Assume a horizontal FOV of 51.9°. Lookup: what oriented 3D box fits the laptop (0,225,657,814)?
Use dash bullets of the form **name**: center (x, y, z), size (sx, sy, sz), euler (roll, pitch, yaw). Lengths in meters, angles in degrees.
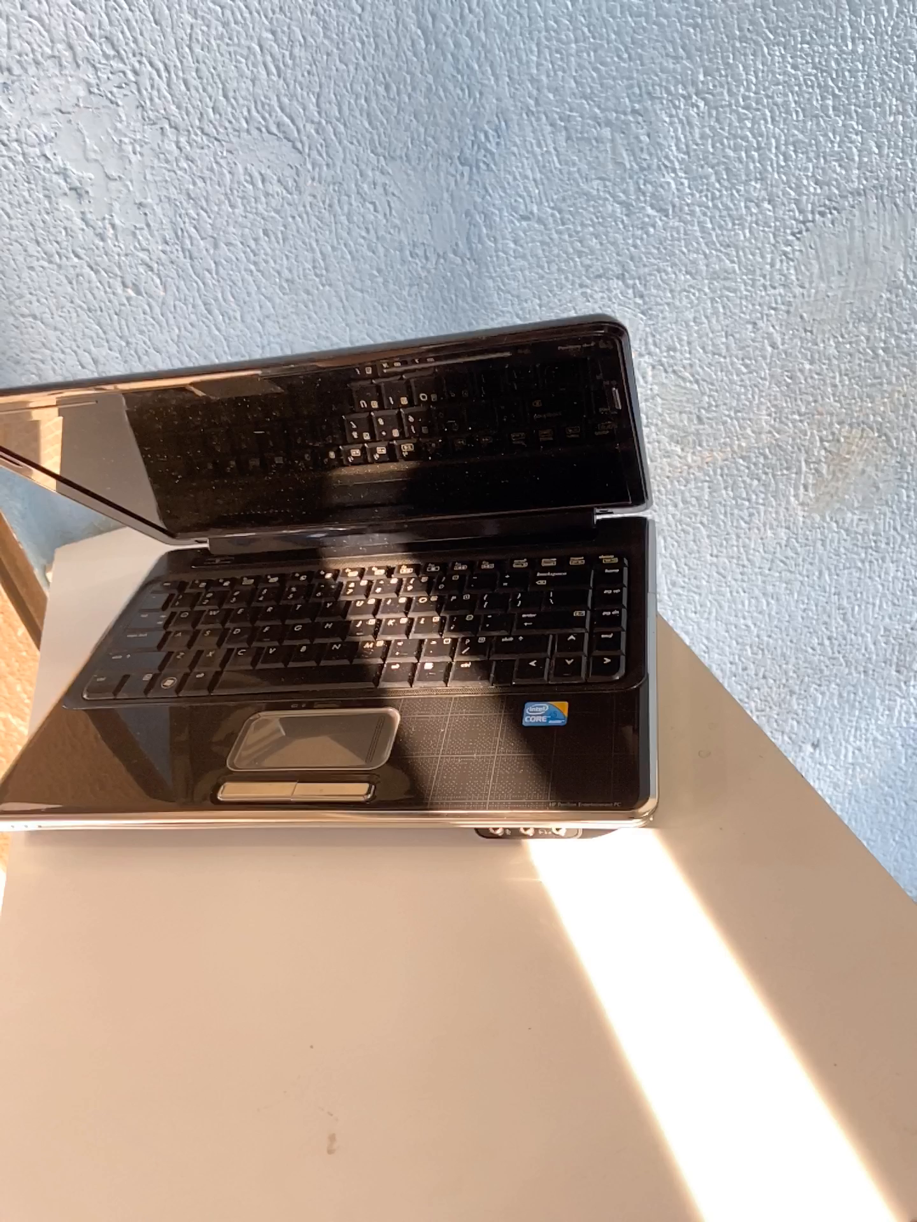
- **laptop**: center (-0.074, -0.046, 0.466), size (0.325, 0.165, 0.226), euler (-3, 37, 14)
